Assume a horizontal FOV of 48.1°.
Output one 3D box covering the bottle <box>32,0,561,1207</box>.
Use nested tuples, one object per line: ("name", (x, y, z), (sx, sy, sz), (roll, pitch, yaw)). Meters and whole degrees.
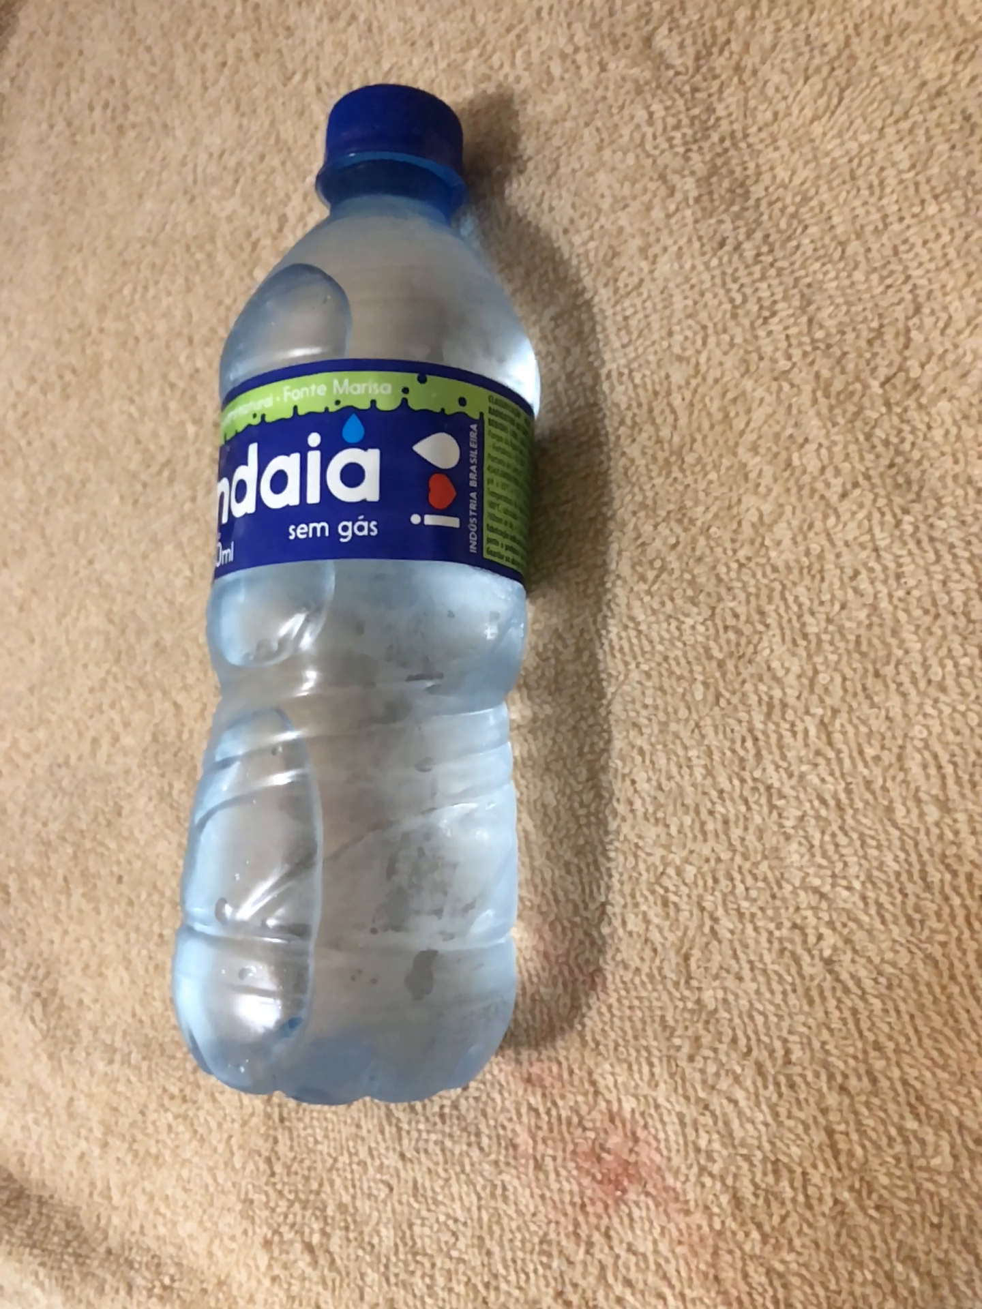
("bottle", (-0.035, -0.020, 0.214), (0.080, 0.050, 0.210), (-7, 77, 39))
